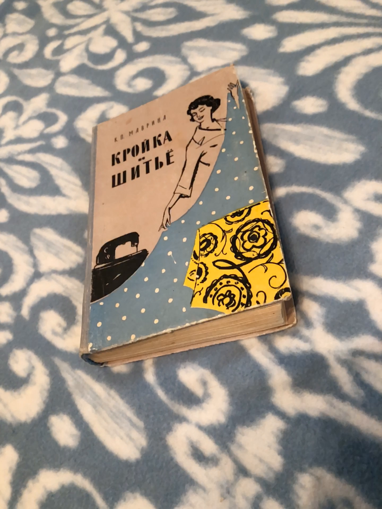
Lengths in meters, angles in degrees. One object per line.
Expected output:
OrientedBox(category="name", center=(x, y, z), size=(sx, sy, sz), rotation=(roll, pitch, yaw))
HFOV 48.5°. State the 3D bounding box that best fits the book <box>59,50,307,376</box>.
OrientedBox(category="book", center=(-0.015, -0.041, 0.323), size=(0.152, 0.037, 0.232), rotation=(-18, 54, 19))
